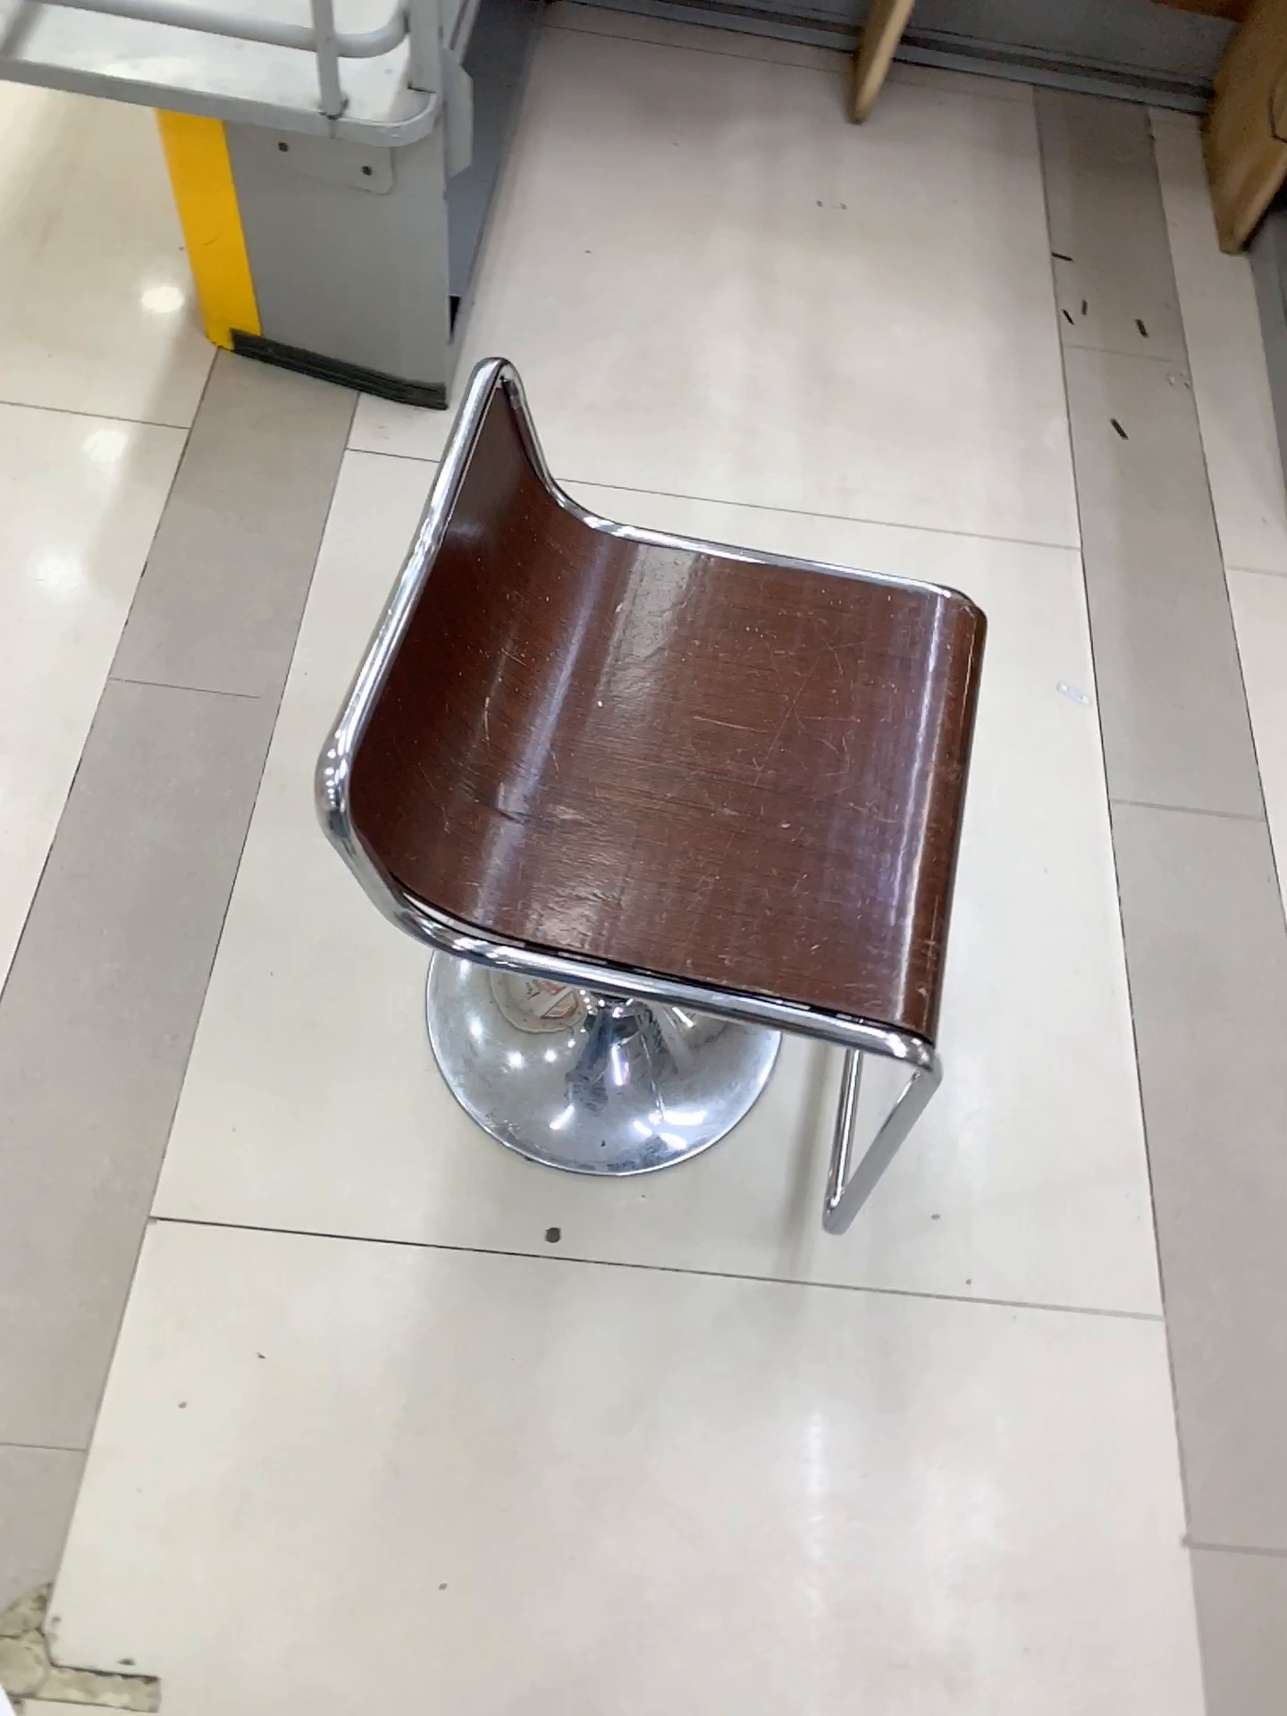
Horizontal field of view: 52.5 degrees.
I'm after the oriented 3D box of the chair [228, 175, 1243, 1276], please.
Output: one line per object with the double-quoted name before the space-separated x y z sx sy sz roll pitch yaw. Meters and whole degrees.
"chair" 0.048 -0.018 1.018 0.480 0.706 0.442 14 61 0
